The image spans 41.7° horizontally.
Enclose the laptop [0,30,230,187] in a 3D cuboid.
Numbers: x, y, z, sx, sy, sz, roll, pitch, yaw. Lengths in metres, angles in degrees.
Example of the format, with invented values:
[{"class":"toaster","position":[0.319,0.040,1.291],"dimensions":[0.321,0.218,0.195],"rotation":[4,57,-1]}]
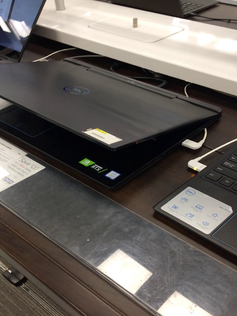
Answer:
[{"class":"laptop","position":[-0.079,-0.128,0.609],"dimensions":[0.419,0.085,0.274],"rotation":[29,53,29]}]
